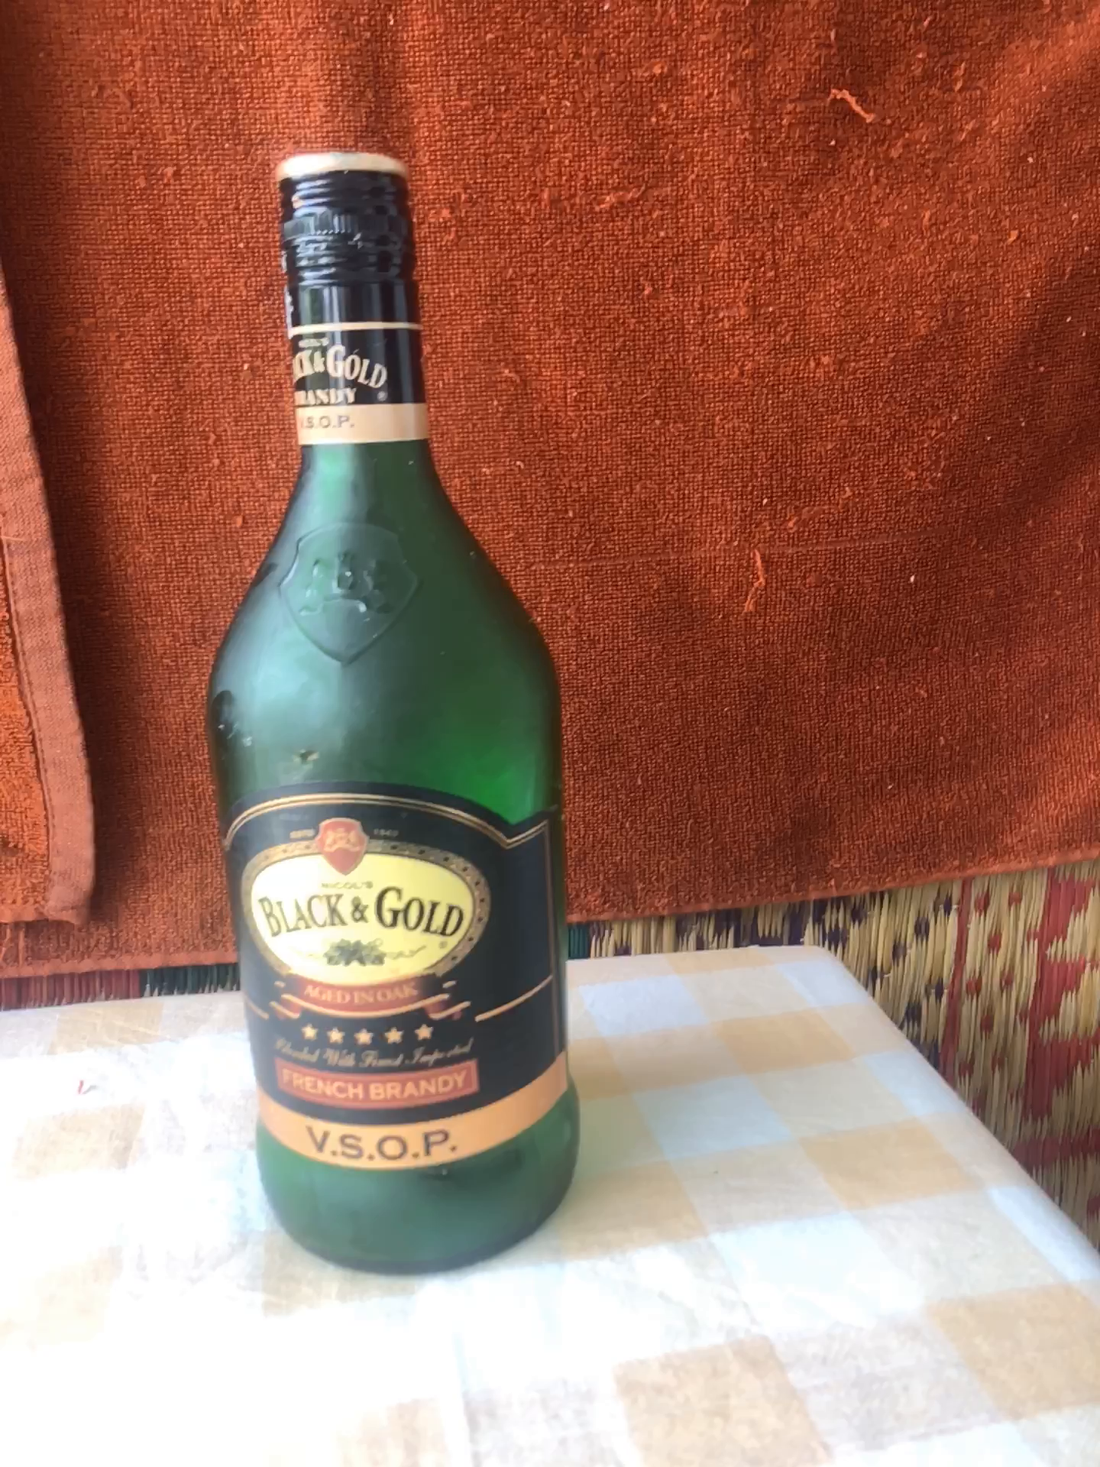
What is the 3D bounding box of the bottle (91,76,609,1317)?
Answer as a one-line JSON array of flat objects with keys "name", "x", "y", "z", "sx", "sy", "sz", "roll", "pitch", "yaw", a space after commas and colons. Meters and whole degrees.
[{"name": "bottle", "x": -0.034, "y": -0.002, "z": 0.290, "sx": 0.090, "sy": 0.259, "sz": 0.080, "roll": 1, "pitch": 15, "yaw": 6}]
